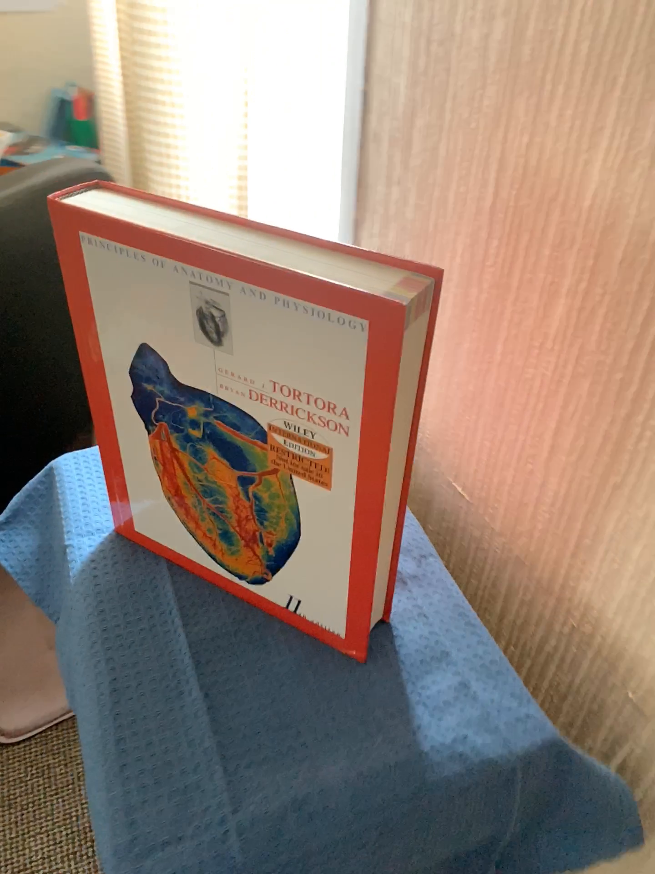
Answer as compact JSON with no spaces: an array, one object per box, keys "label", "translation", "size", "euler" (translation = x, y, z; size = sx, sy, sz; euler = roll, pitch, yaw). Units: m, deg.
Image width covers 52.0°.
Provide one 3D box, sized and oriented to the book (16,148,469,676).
[{"label":"book","translation":[-0.064,-0.013,0.447],"size":[0.261,0.287,0.060],"euler":[21,39,23]}]
